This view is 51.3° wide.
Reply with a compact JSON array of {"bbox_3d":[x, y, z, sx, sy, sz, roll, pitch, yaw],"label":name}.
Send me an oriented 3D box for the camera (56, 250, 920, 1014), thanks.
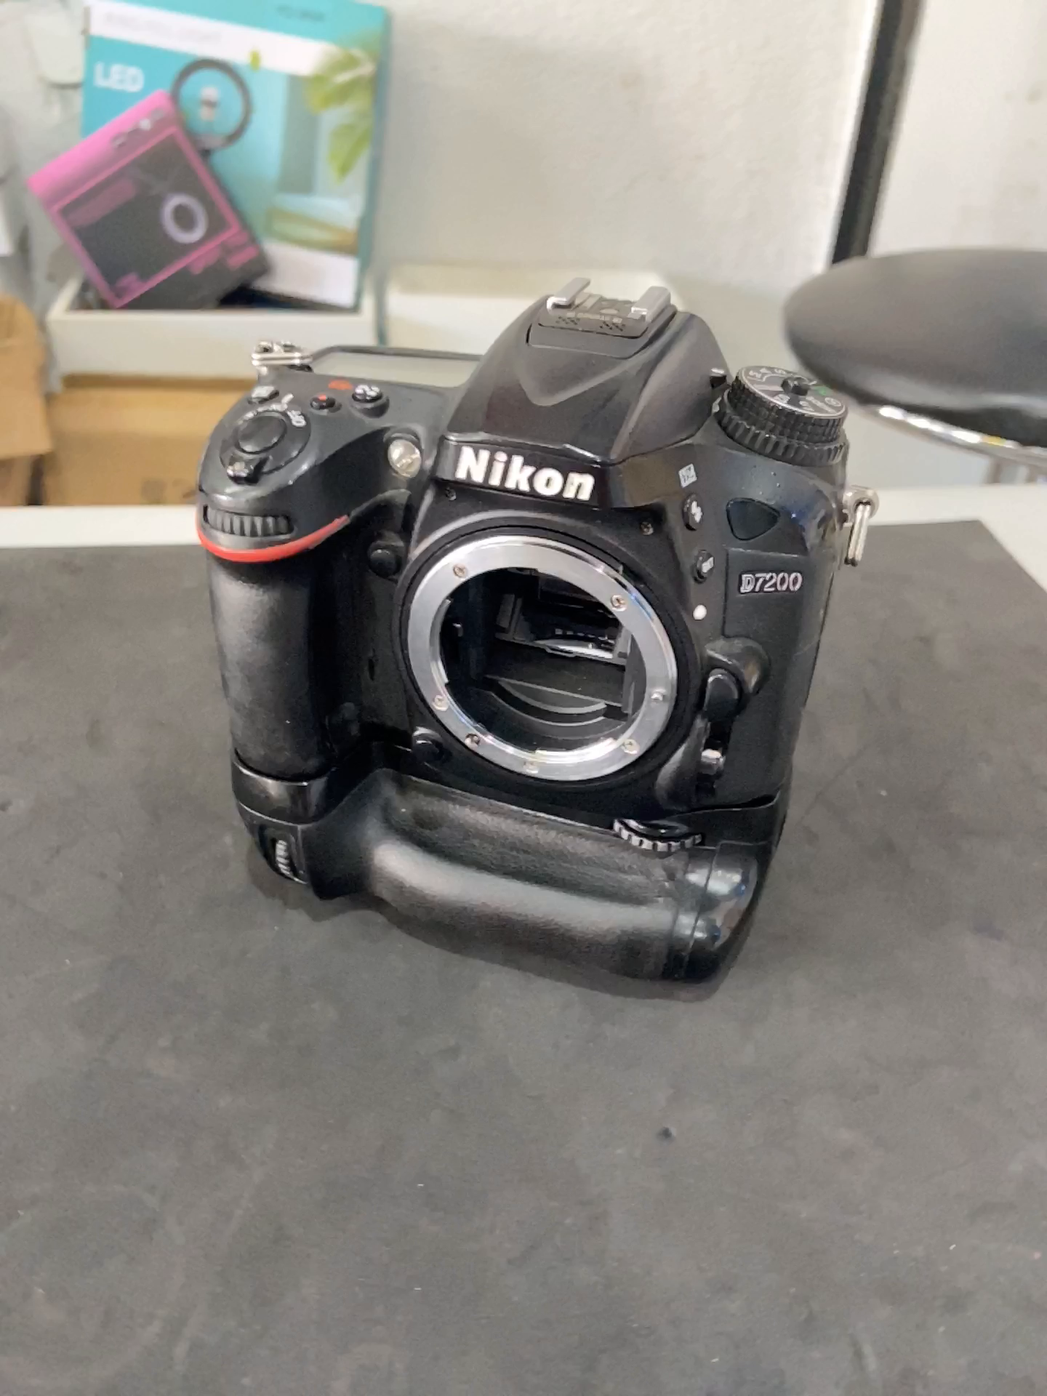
[{"bbox_3d":[0.001,-0.023,0.240,0.140,0.109,0.101,11,36,14],"label":"camera"}]
